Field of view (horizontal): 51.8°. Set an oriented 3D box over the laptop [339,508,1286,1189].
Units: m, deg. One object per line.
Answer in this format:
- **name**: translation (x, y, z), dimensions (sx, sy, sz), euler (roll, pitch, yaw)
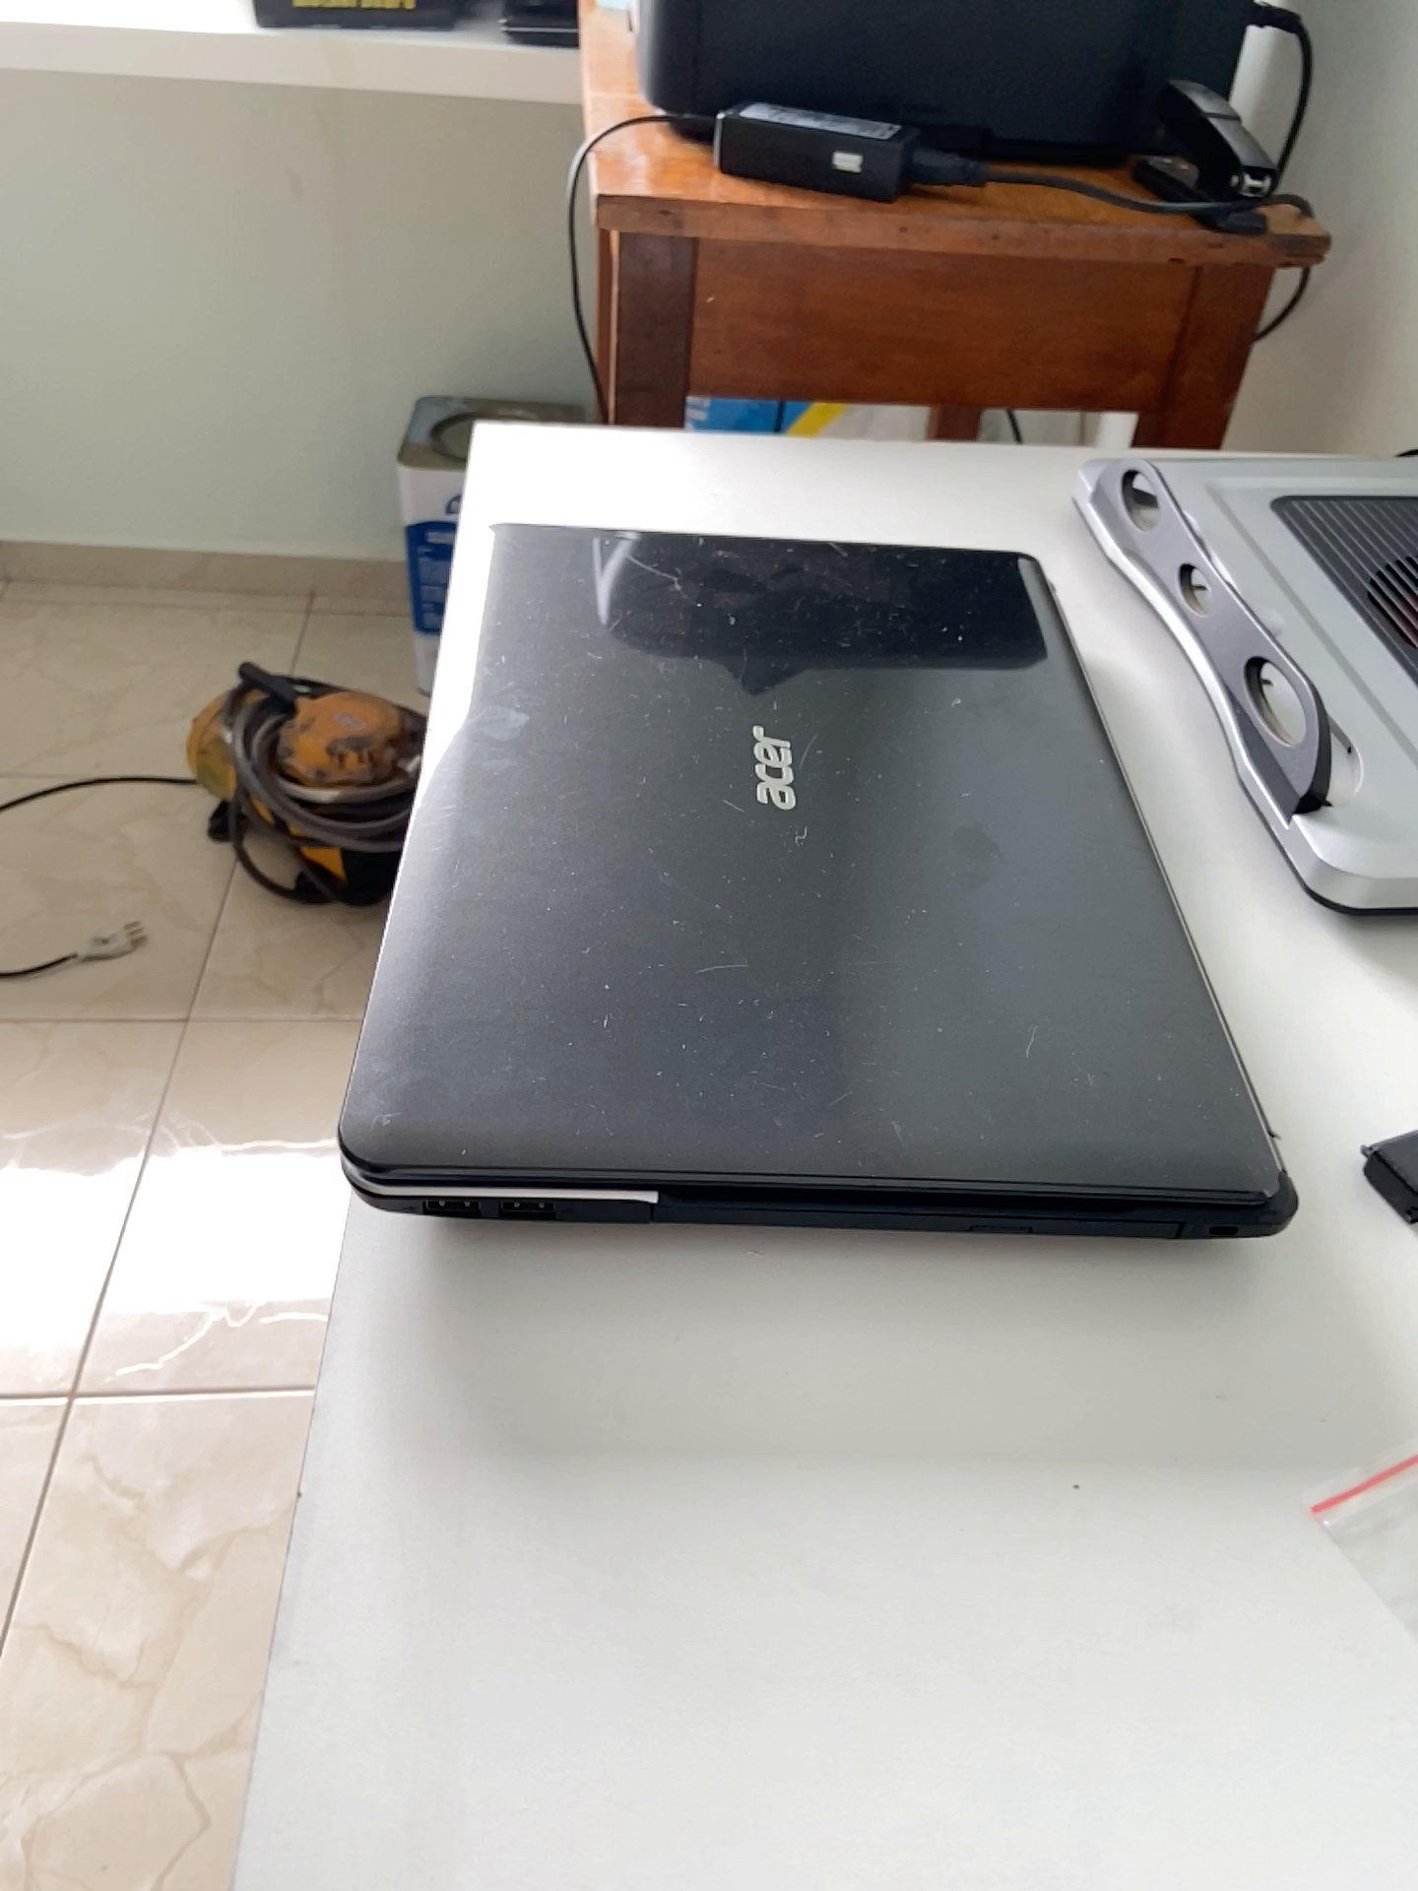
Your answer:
- **laptop**: translation (0.025, -0.059, 0.478), dimensions (0.230, 0.005, 0.337), euler (3, 42, -4)
